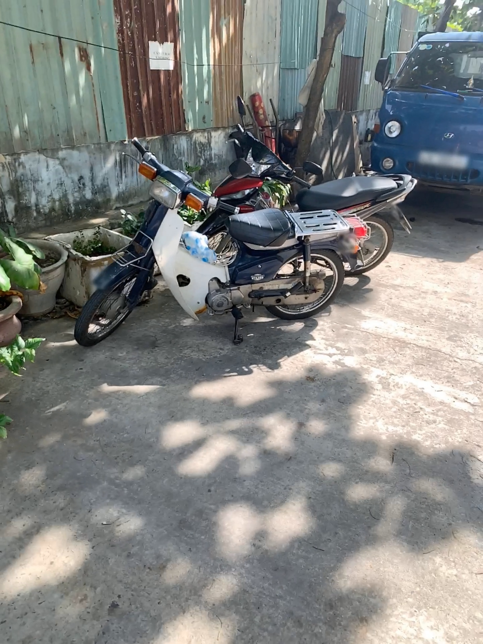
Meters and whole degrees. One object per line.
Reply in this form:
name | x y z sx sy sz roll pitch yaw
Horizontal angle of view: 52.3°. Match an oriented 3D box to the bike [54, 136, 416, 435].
bike | -0.039 -0.272 2.421 1.476 1.024 0.655 -13 30 -22
